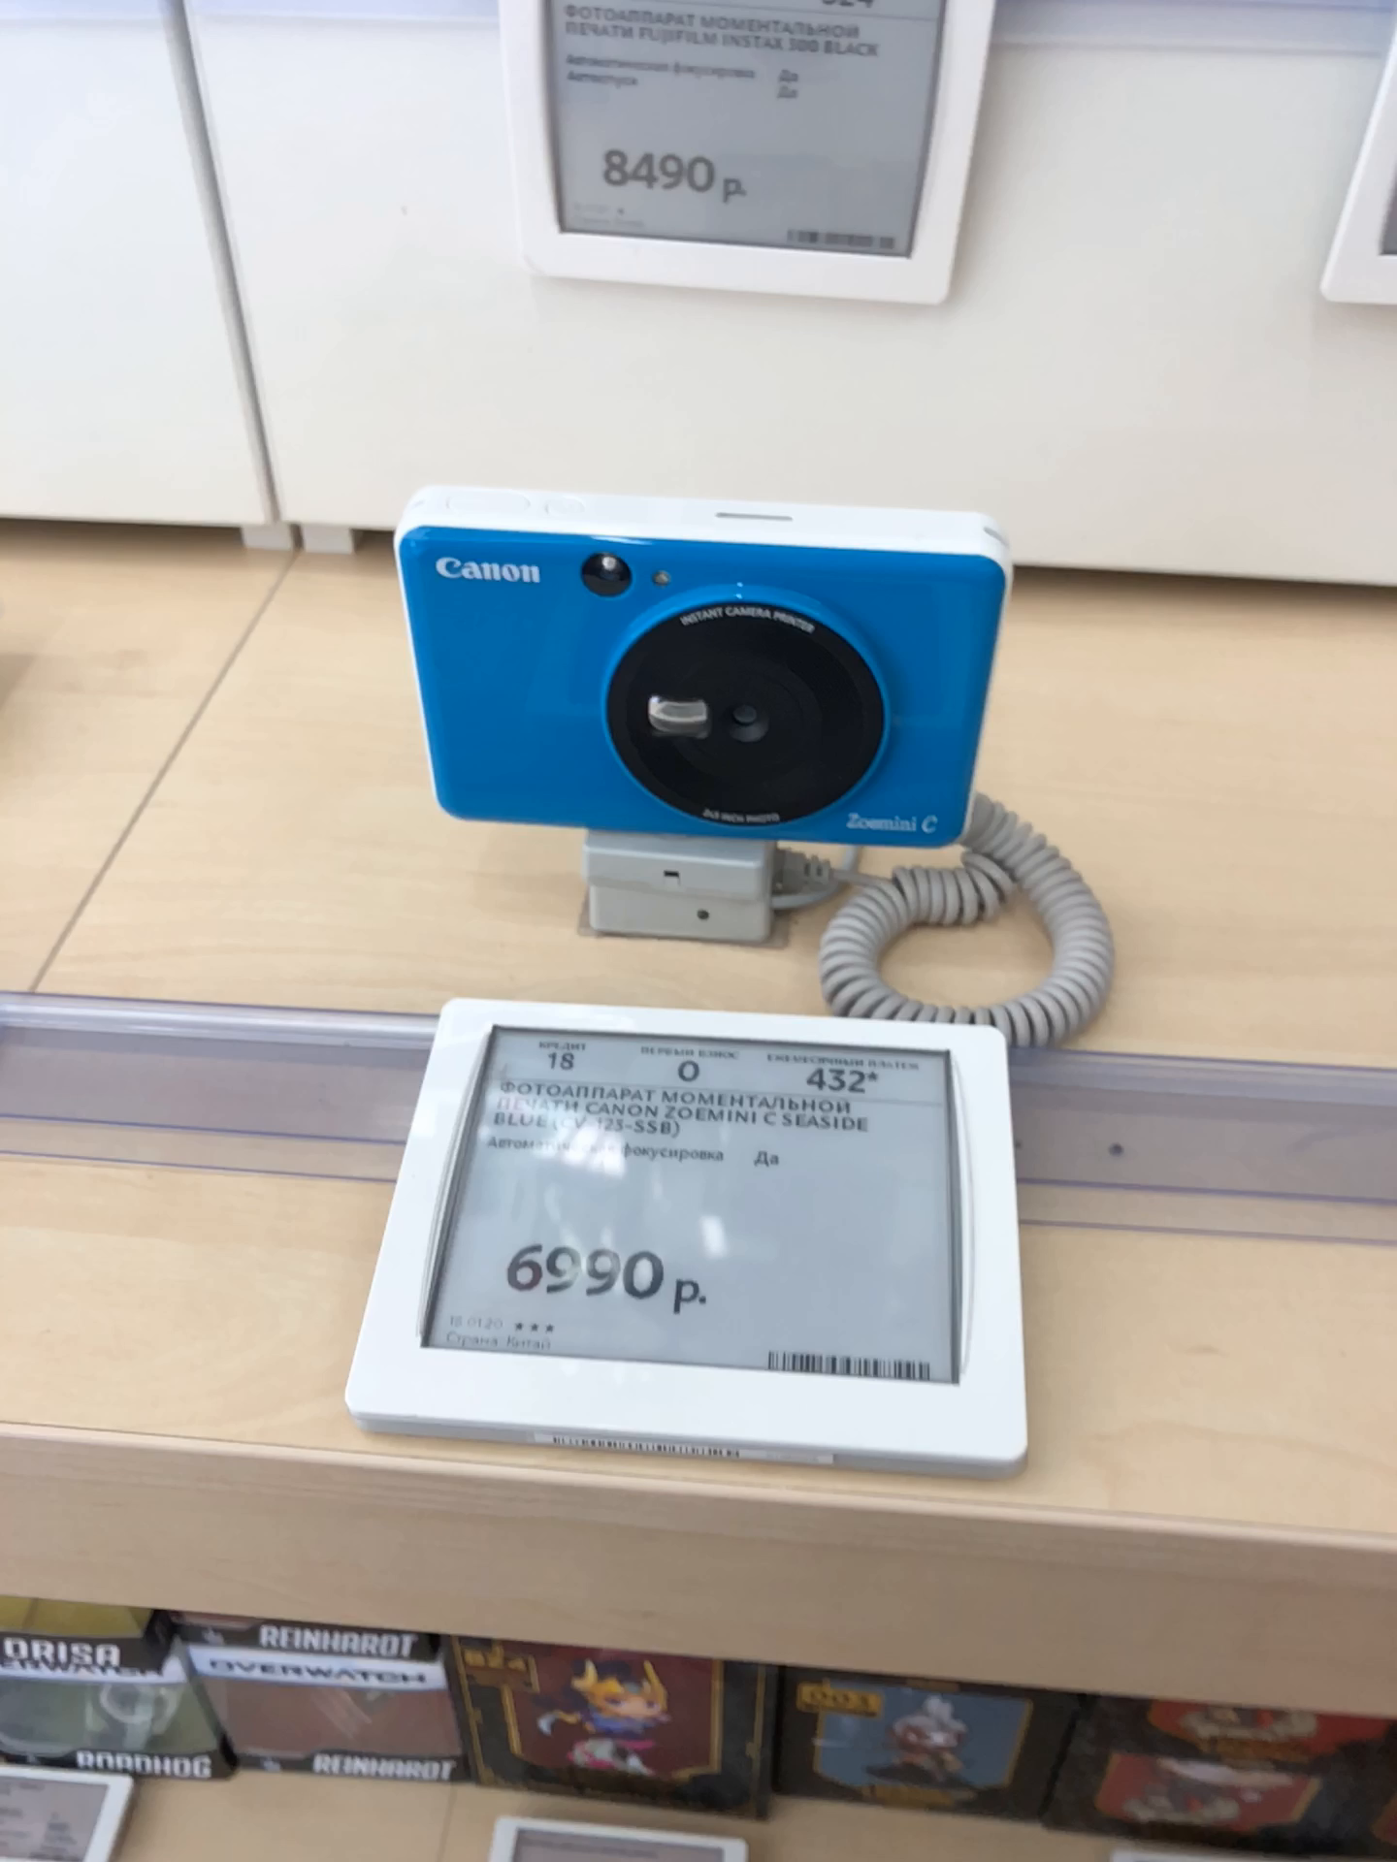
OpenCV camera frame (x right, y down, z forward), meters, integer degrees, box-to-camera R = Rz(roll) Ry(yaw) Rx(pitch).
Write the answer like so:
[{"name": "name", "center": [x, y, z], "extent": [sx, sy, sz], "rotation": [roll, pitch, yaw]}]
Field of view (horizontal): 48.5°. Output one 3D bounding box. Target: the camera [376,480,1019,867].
[{"name": "camera", "center": [0.001, -0.052, 0.320], "extent": [0.119, 0.072, 0.025], "rotation": [4, 46, 5]}]
